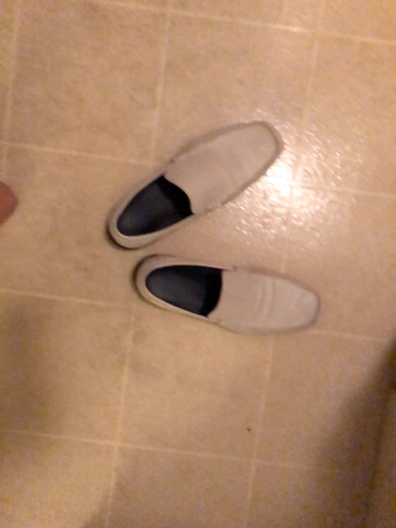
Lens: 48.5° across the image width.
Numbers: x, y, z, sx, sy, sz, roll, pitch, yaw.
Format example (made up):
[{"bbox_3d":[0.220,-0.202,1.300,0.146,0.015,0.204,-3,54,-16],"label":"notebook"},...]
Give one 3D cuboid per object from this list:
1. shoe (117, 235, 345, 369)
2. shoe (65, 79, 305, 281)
[{"bbox_3d":[0.044,0.049,0.641,0.289,0.097,0.110,15,95,-1],"label":"shoe"},{"bbox_3d":[-0.018,-0.112,0.628,0.306,0.097,0.110,-34,94,2],"label":"shoe"}]
